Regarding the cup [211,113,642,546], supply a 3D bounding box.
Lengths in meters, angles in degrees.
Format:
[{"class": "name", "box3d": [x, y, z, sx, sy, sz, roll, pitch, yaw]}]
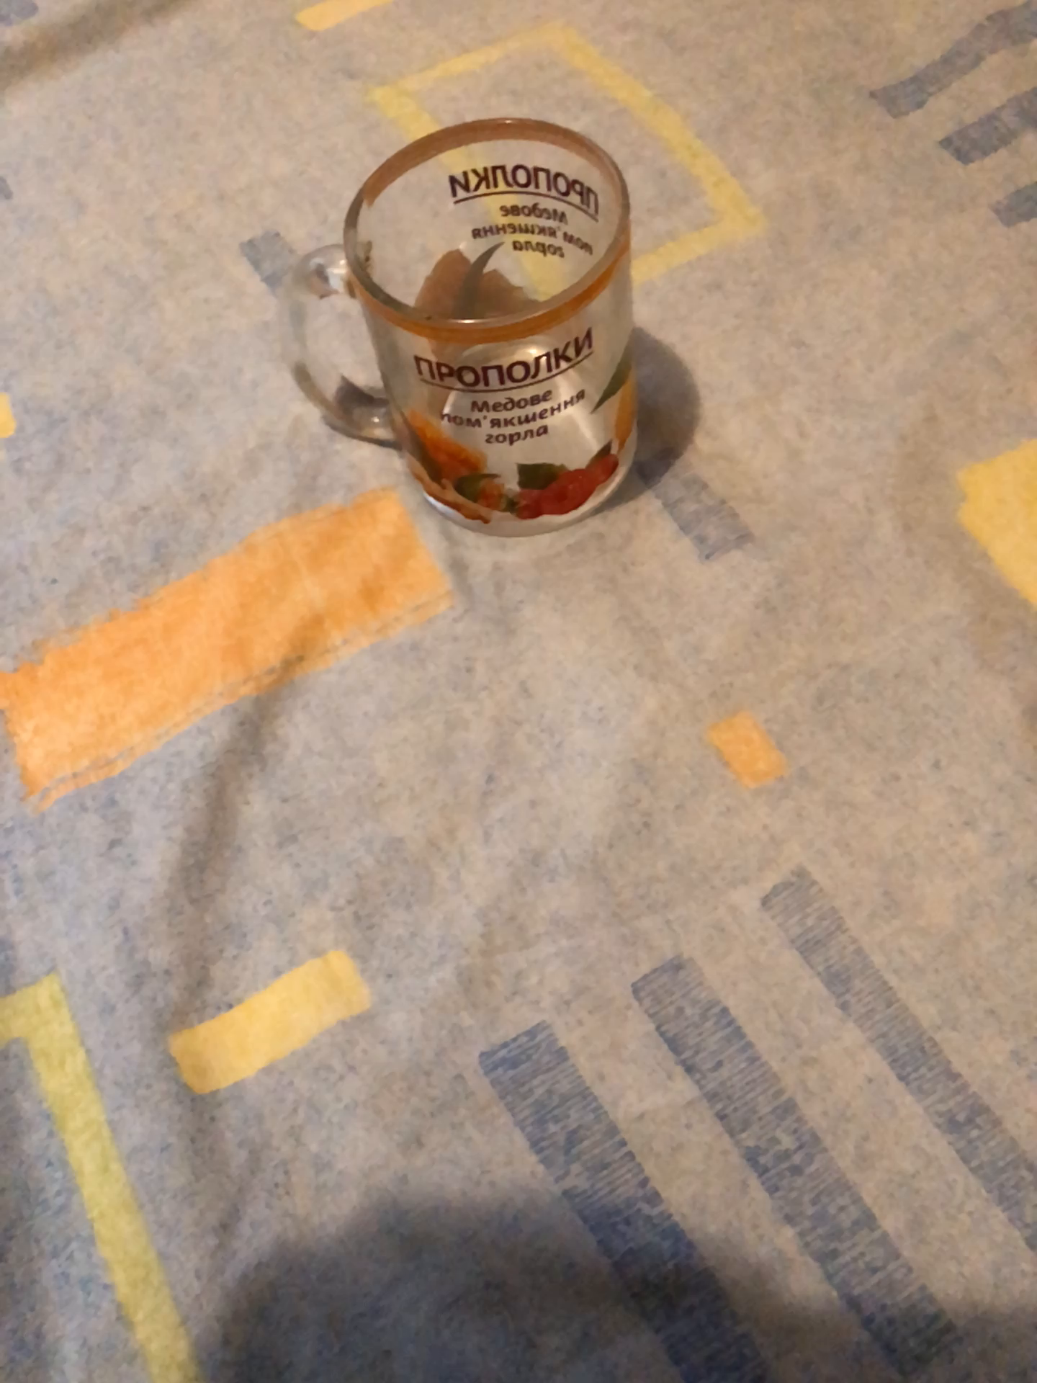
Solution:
[{"class": "cup", "box3d": [-0.020, -0.106, 0.351, 0.110, 0.092, 0.084, 0, 63, 4]}]
